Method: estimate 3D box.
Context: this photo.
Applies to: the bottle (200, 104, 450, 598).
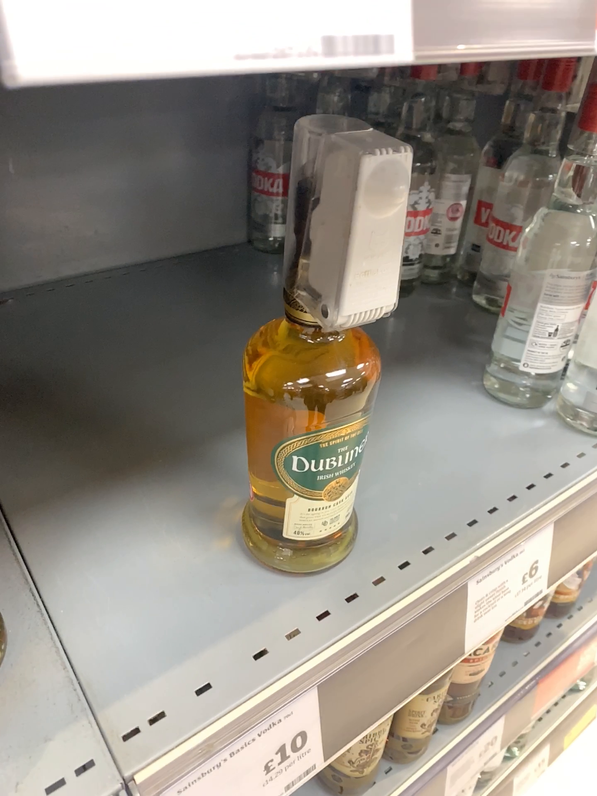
[{"bbox_3d":[0.005,-0.016,0.379,0.089,0.283,0.091,2,35,-1],"label":"bottle"}]
